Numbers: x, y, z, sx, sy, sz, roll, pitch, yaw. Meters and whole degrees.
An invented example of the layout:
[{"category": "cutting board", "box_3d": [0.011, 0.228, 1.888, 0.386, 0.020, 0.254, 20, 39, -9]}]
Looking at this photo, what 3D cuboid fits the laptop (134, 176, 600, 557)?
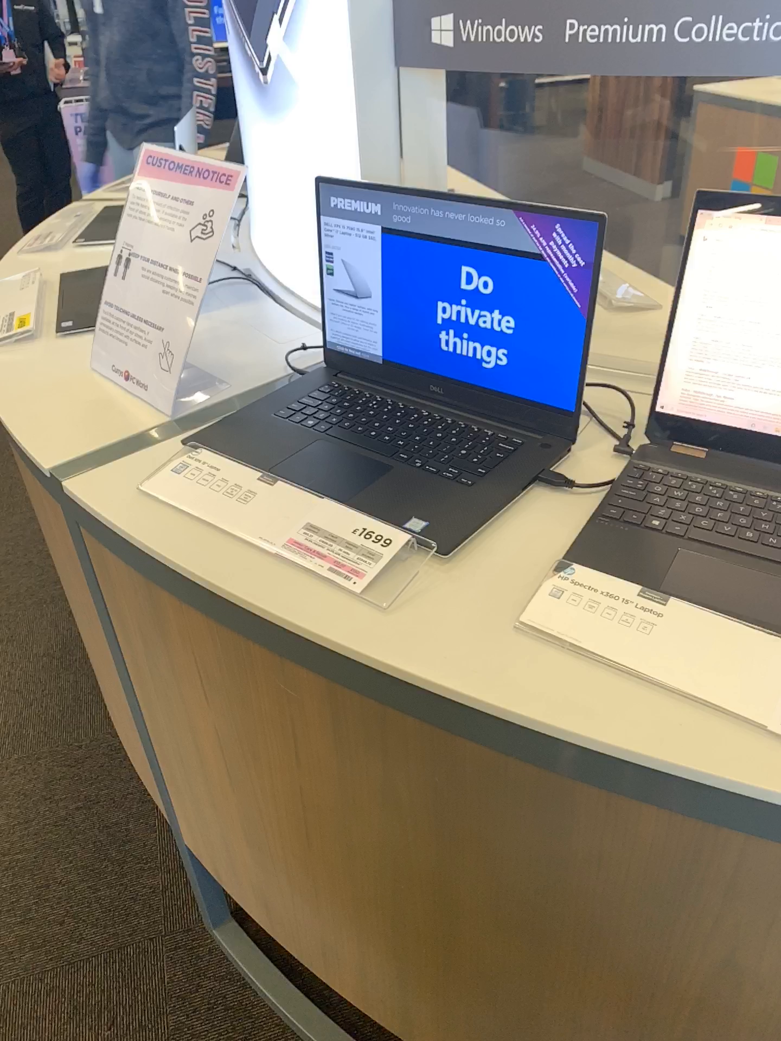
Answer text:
[{"category": "laptop", "box_3d": [-0.019, -0.180, 0.796, 0.352, 0.224, 0.254, 23, 42, 32]}]
